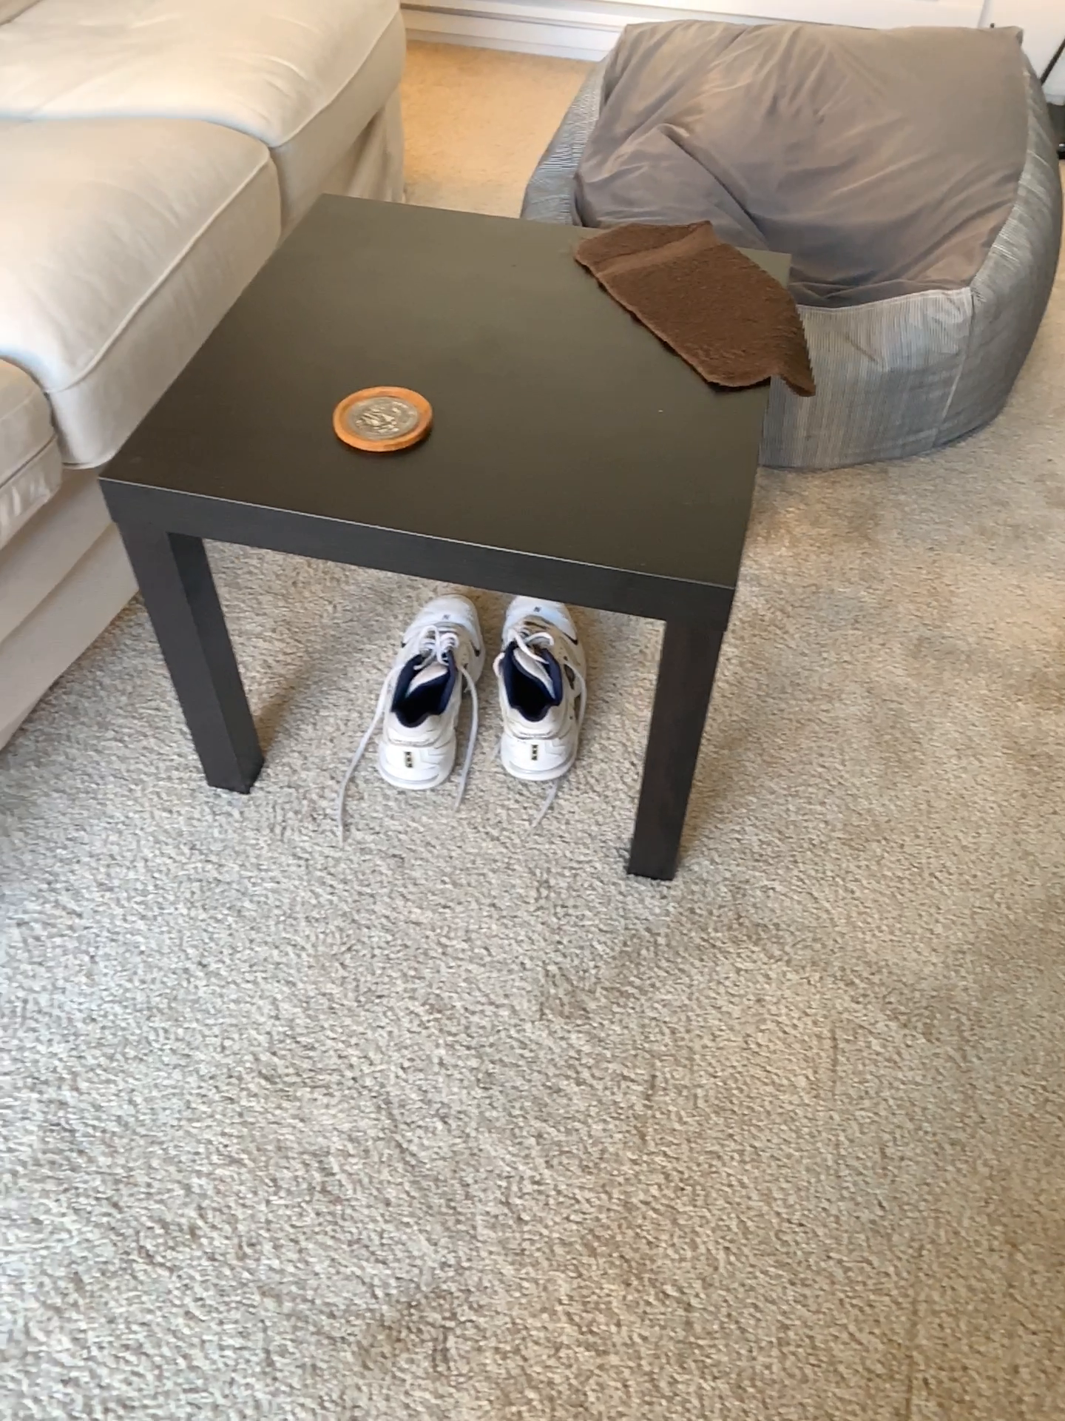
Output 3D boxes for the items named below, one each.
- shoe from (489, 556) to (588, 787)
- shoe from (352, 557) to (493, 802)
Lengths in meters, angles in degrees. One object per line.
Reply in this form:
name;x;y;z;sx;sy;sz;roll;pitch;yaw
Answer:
shoe;0.007;-0.054;1.341;0.110;0.100;0.291;1;50;-1
shoe;-0.123;-0.044;1.294;0.110;0.100;0.291;6;50;4
